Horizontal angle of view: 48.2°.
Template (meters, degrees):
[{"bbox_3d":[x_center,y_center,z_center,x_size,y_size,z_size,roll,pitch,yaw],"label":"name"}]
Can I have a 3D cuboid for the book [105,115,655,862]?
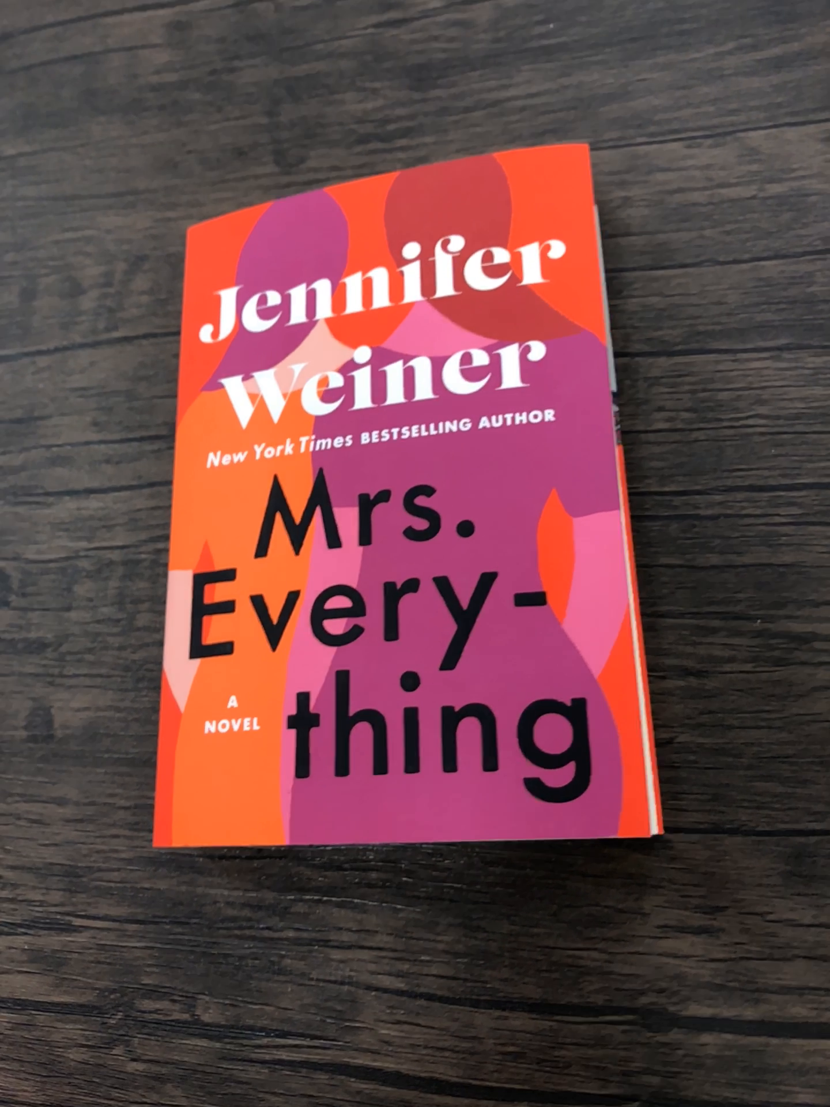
[{"bbox_3d":[-0.013,-0.020,0.314,0.161,0.047,0.232,-5,74,13],"label":"book"}]
